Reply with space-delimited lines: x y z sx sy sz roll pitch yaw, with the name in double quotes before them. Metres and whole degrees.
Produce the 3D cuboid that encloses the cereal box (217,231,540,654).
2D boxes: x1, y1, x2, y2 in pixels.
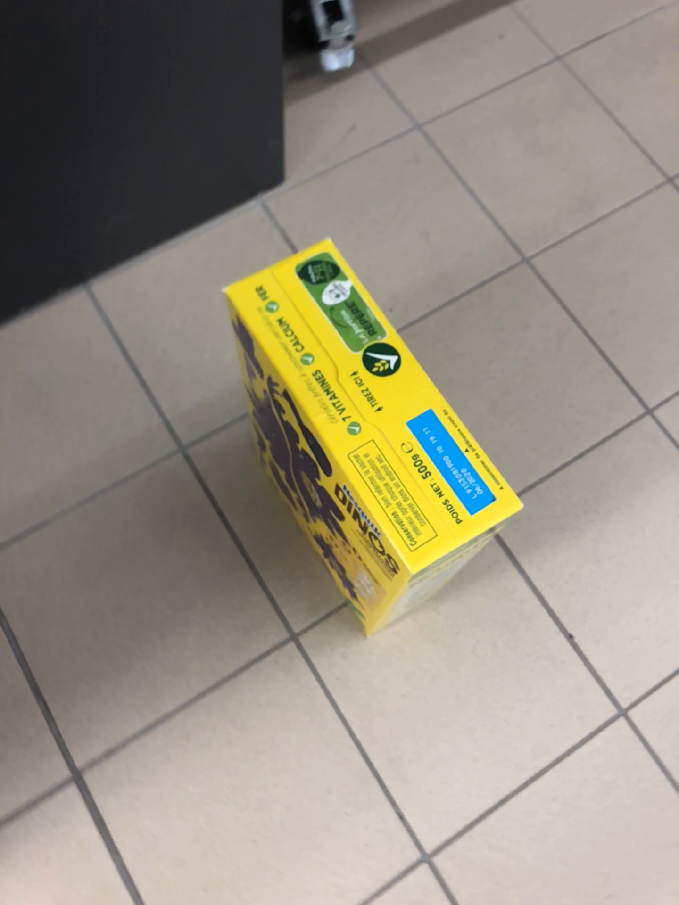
"cereal box" 0.008 0.023 0.530 0.070 0.299 0.200 -30 75 -13
